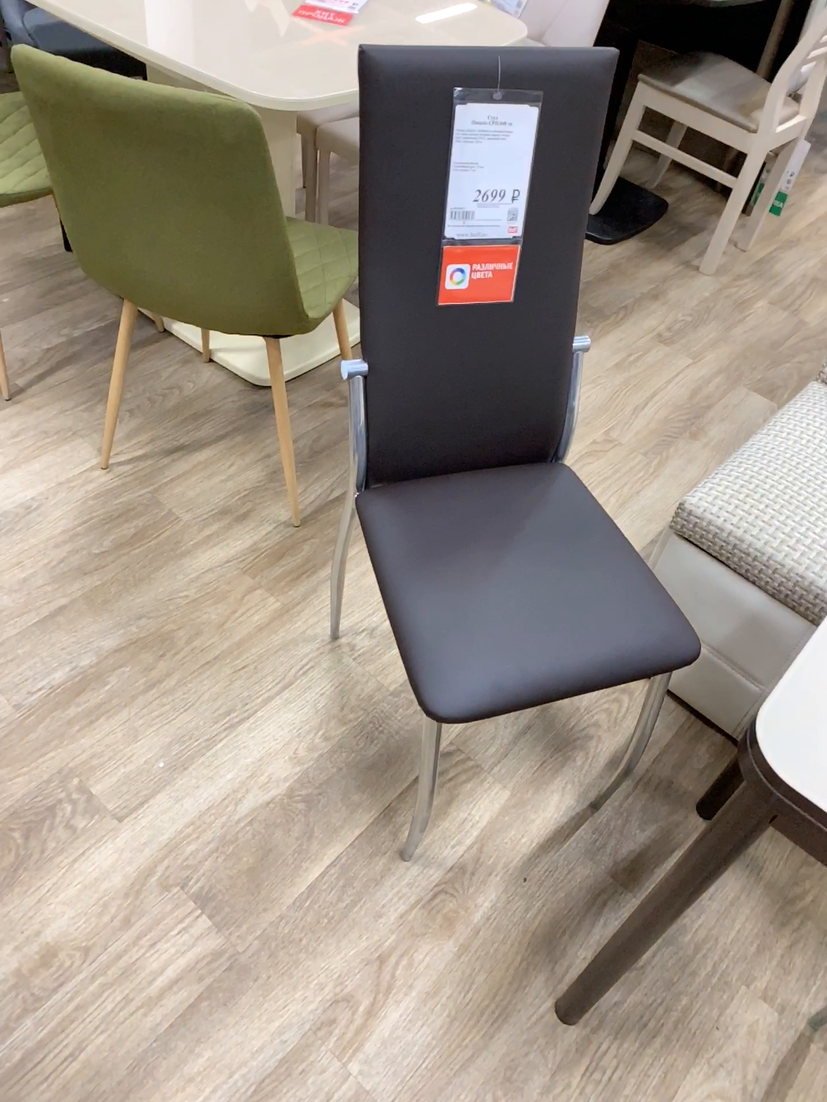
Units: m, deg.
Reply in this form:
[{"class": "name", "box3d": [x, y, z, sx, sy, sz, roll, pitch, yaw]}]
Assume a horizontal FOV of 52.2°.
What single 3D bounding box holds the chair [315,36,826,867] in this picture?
[{"class": "chair", "box3d": [0.141, -0.057, 1.156, 0.420, 0.995, 0.502, -9, 50, -16]}]
